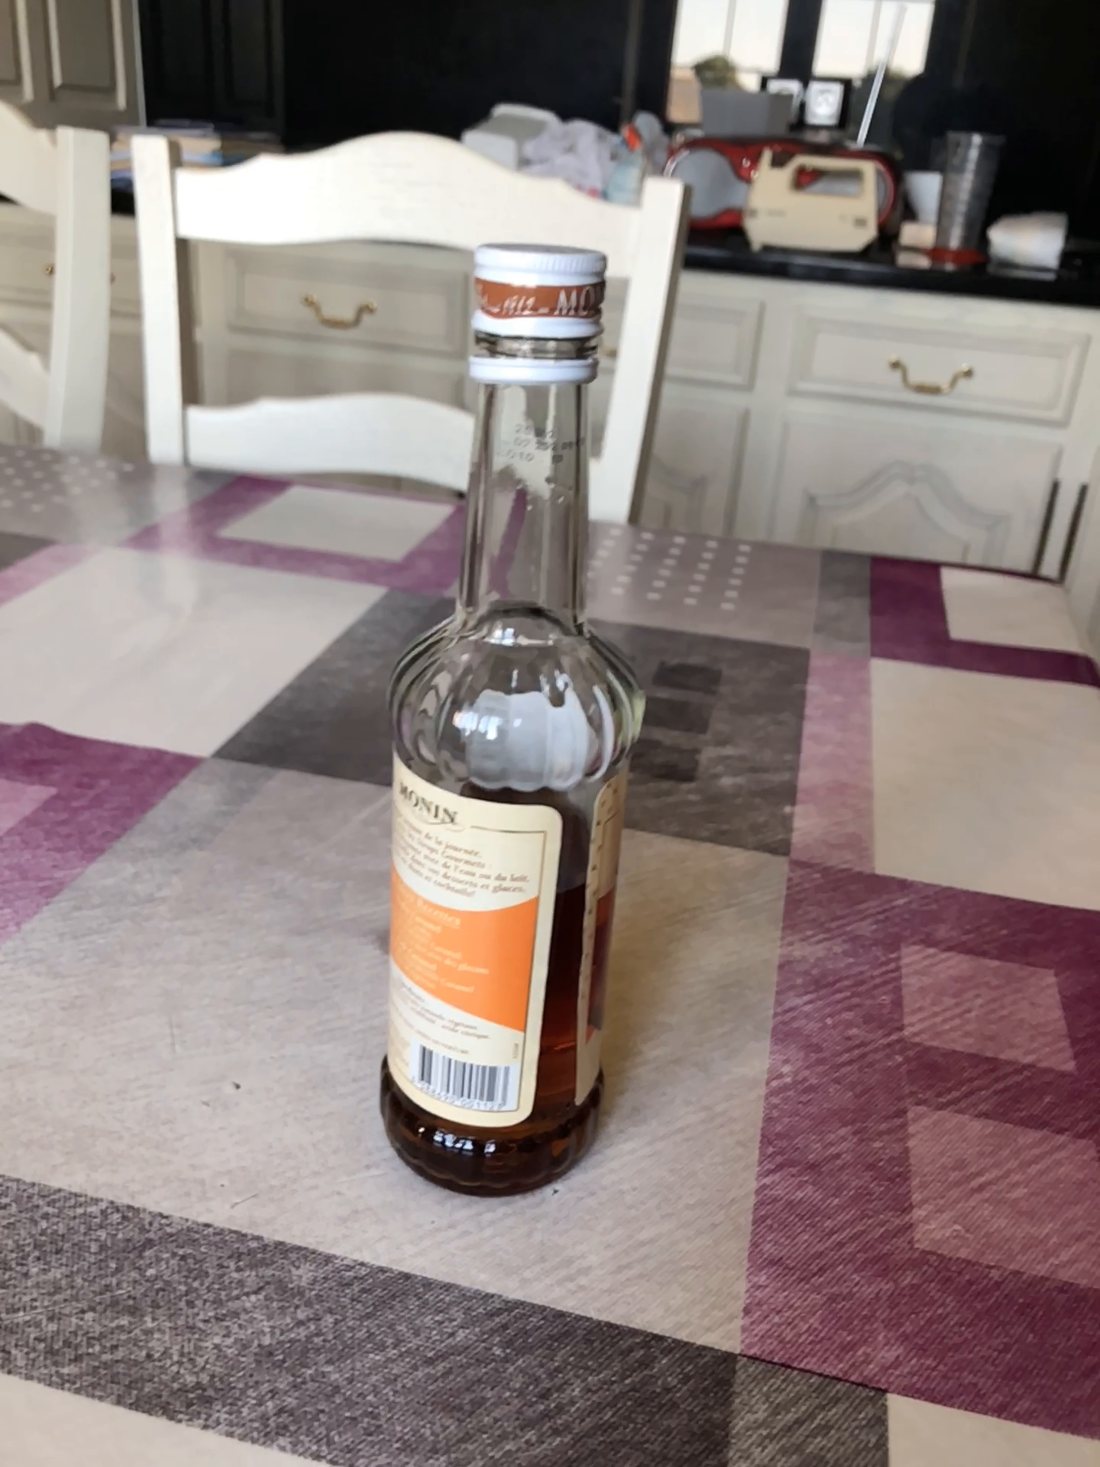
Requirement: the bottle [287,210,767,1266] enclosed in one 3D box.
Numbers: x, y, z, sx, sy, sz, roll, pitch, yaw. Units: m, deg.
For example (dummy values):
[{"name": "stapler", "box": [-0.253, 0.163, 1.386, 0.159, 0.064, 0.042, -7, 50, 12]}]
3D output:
[{"name": "bottle", "box": [-0.011, 0.004, 0.300, 0.070, 0.239, 0.070, 4, 25, -2]}]
